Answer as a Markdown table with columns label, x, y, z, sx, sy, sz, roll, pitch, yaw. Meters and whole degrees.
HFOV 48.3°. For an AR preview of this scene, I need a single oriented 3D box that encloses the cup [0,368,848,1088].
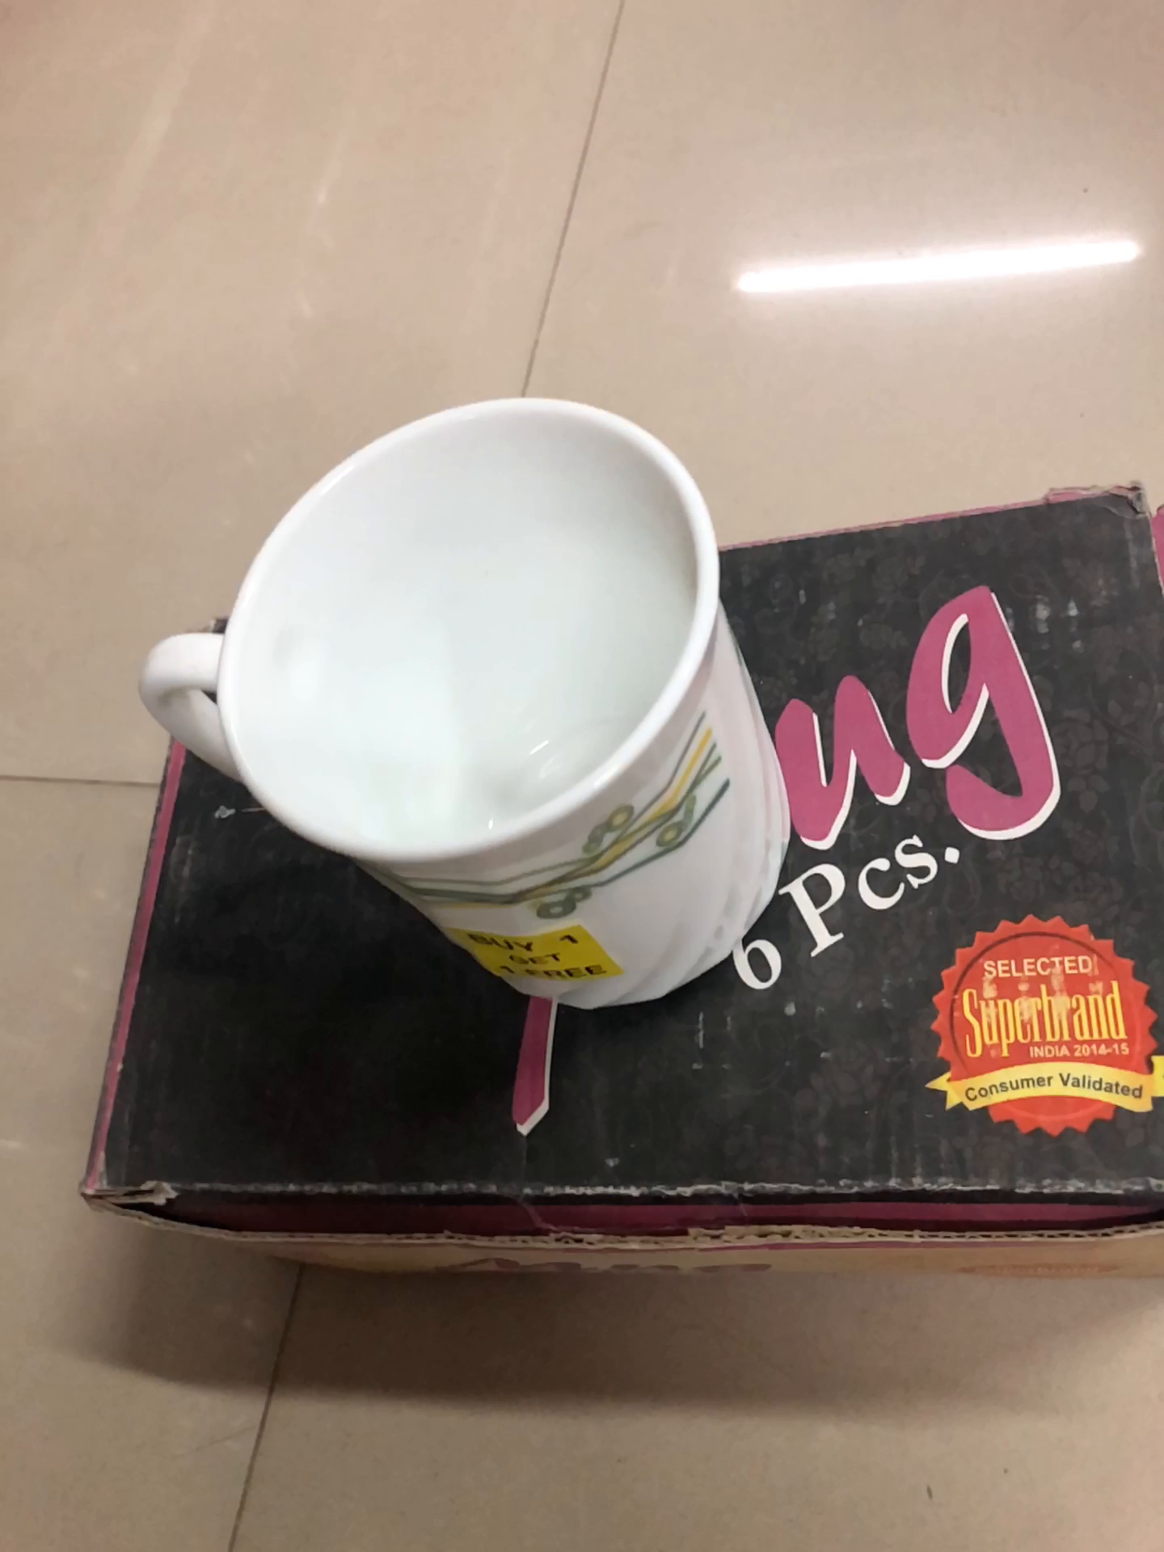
| label | x | y | z | sx | sy | sz | roll | pitch | yaw |
| --- | --- | --- | --- | --- | --- | --- | --- | --- | --- |
| cup | -0.022 | -0.002 | 0.232 | 0.120 | 0.100 | 0.080 | 1 | 64 | 19 |
